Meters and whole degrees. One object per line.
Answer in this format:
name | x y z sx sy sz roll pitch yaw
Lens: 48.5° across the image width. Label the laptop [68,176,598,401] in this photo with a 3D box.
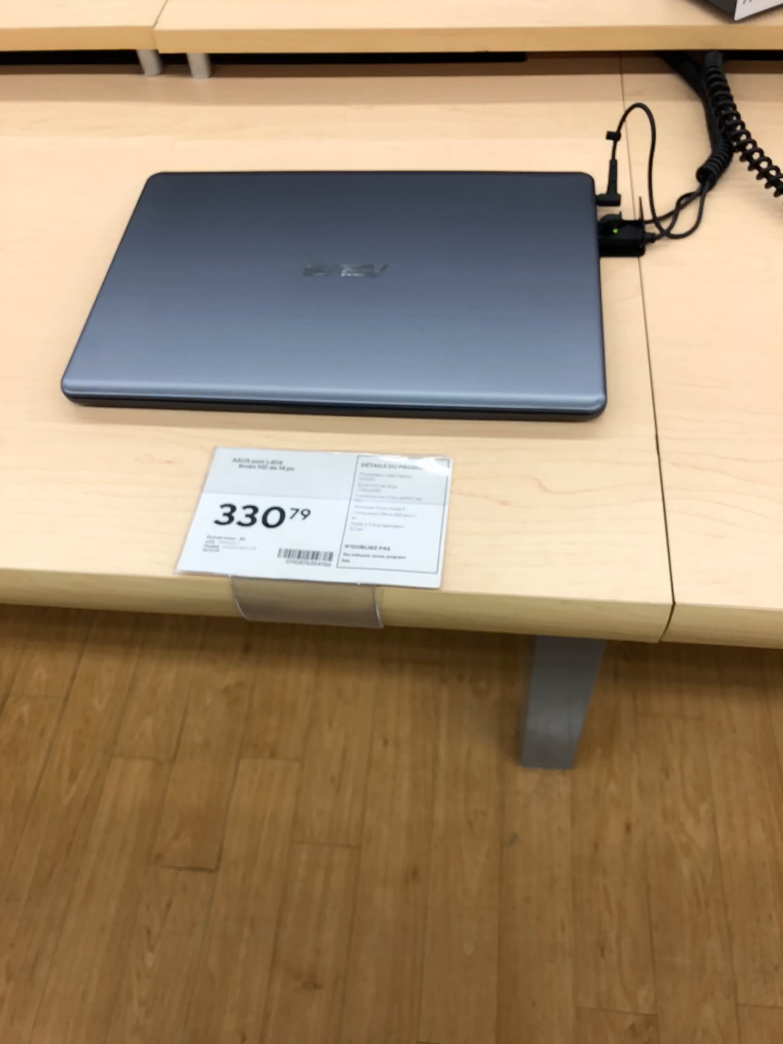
laptop | -0.031 -0.164 0.573 0.318 0.001 0.211 3 56 6
